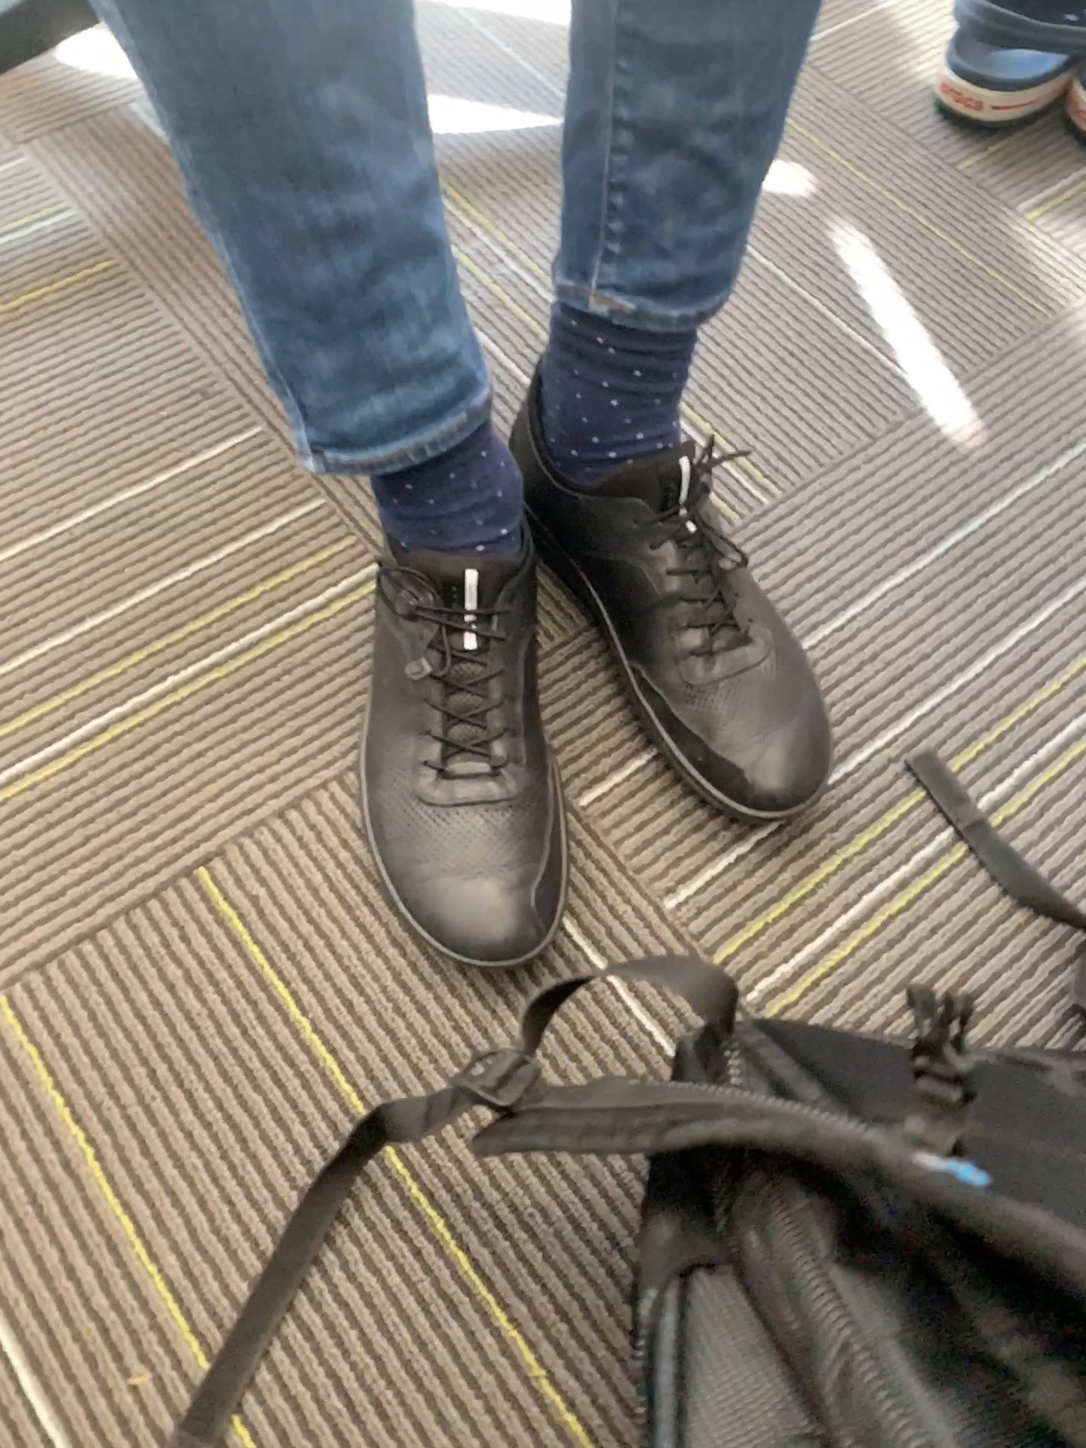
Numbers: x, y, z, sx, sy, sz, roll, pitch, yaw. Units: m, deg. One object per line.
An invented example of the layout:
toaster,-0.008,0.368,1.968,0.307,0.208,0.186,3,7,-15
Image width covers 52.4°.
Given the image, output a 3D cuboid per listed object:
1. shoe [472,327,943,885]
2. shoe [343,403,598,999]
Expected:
shoe,0.077,-0.078,0.647,0.110,0.100,0.311,-24,65,-15
shoe,-0.047,-0.022,0.602,0.110,0.100,0.311,-3,62,-5
